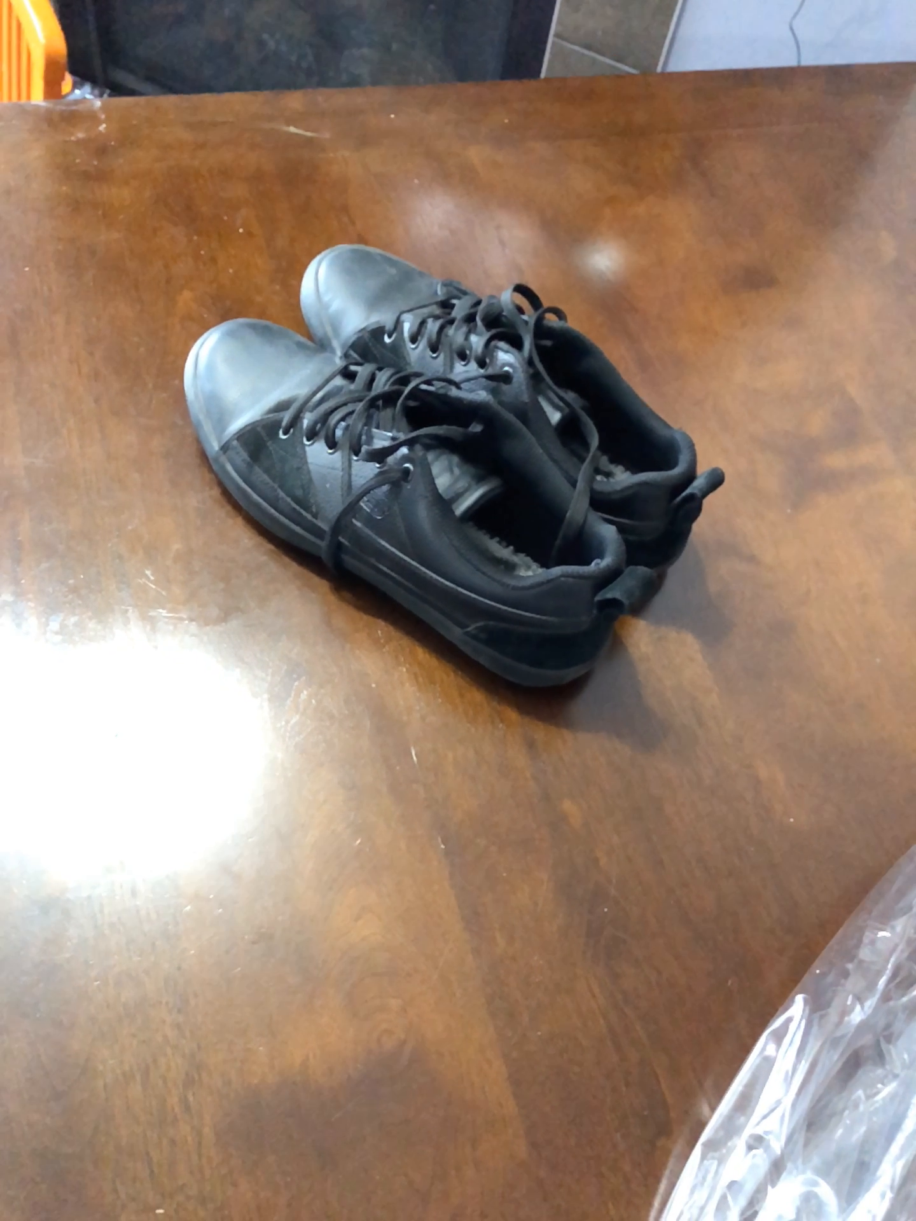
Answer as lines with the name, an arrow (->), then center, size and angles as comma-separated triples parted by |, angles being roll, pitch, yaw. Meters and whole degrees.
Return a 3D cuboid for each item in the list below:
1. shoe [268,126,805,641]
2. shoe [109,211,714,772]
shoe -> 0.030, -0.139, 0.596 | 0.300, 0.110, 0.110 | 43, 61, 17
shoe -> -0.034, -0.069, 0.543 | 0.300, 0.110, 0.110 | 38, 60, 15
